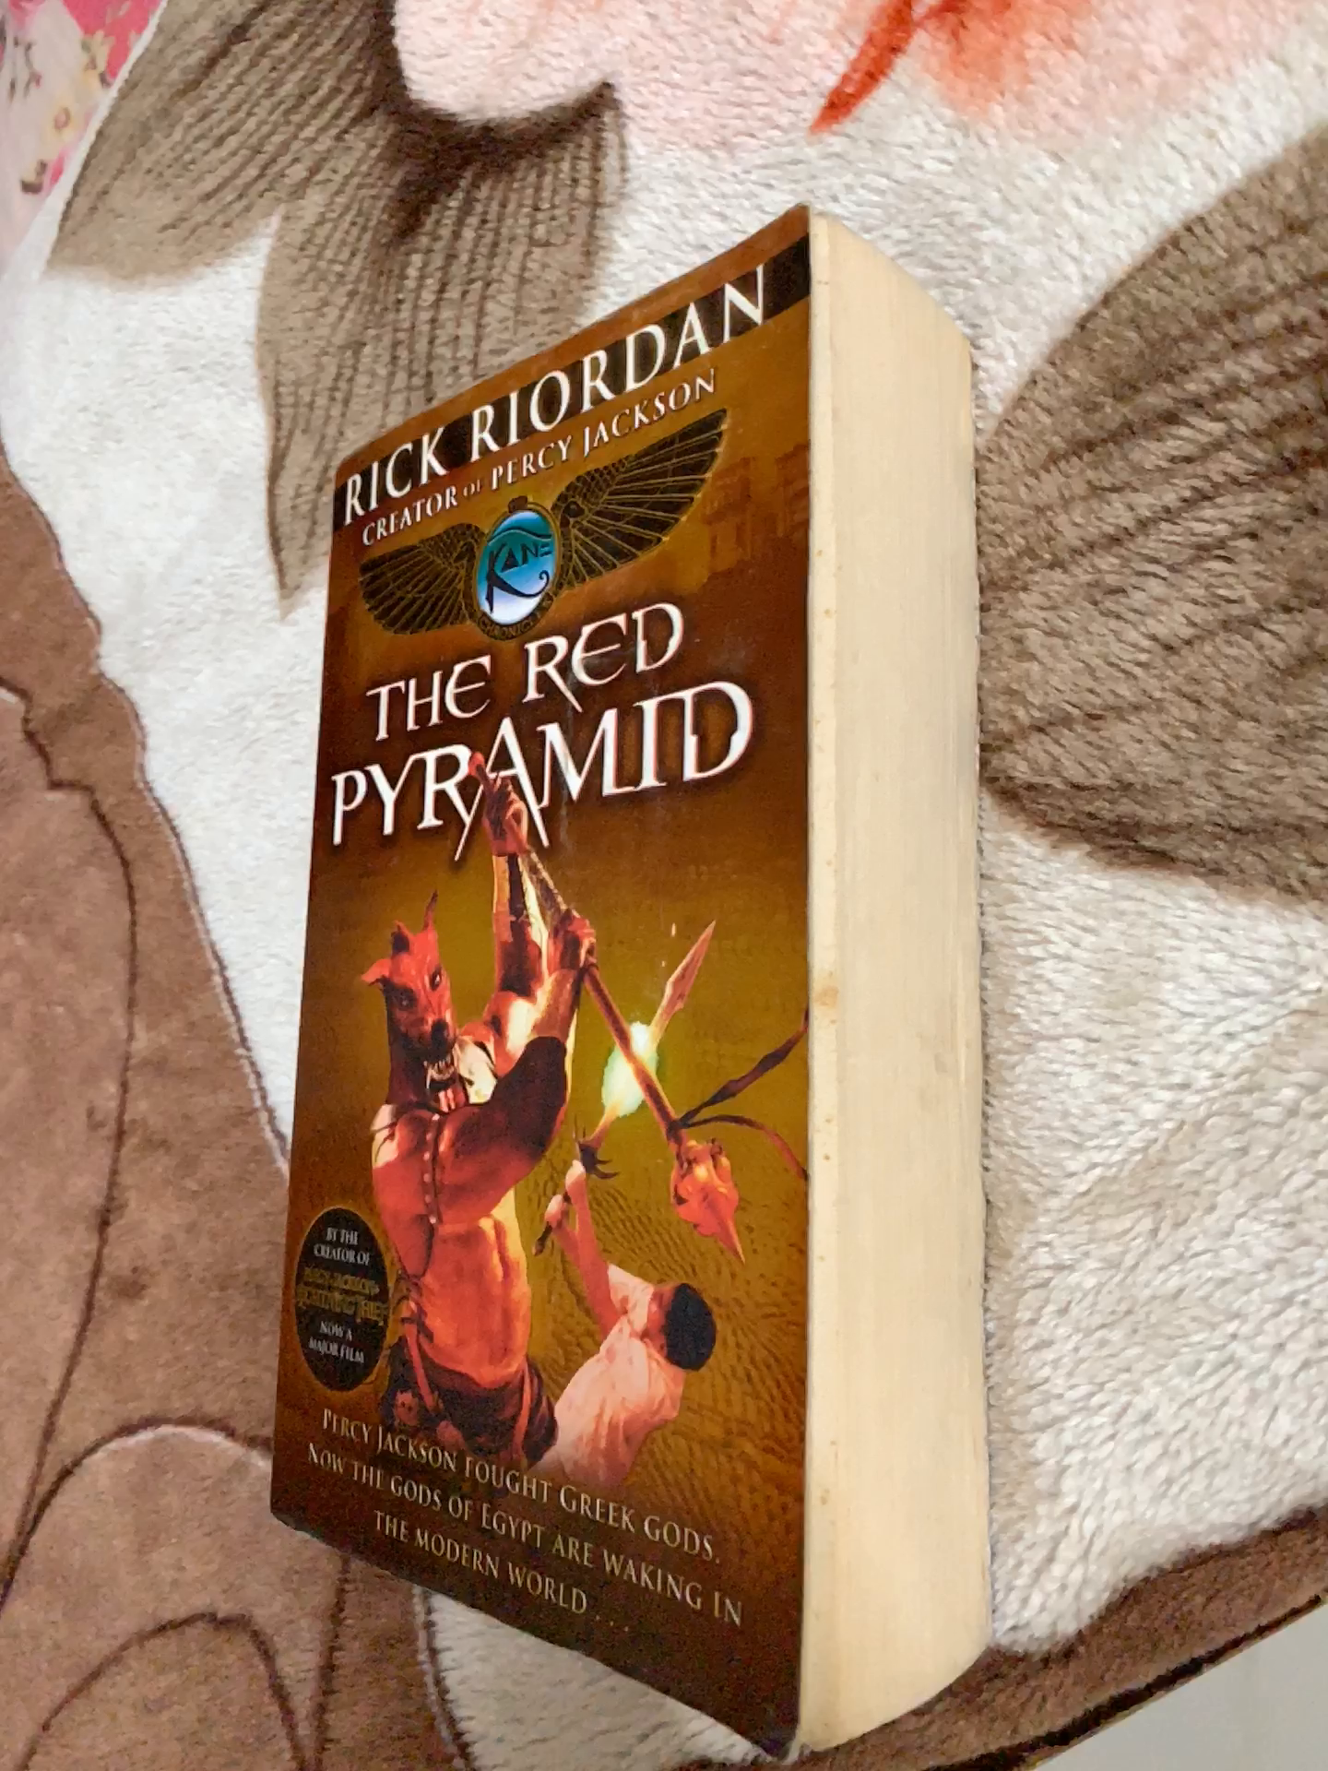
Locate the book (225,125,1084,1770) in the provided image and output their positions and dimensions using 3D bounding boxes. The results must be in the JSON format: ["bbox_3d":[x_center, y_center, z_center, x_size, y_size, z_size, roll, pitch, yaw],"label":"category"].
[{"bbox_3d":[-0.008,0.008,0.243,0.151,0.040,0.220,-7,77,41],"label":"book"}]
